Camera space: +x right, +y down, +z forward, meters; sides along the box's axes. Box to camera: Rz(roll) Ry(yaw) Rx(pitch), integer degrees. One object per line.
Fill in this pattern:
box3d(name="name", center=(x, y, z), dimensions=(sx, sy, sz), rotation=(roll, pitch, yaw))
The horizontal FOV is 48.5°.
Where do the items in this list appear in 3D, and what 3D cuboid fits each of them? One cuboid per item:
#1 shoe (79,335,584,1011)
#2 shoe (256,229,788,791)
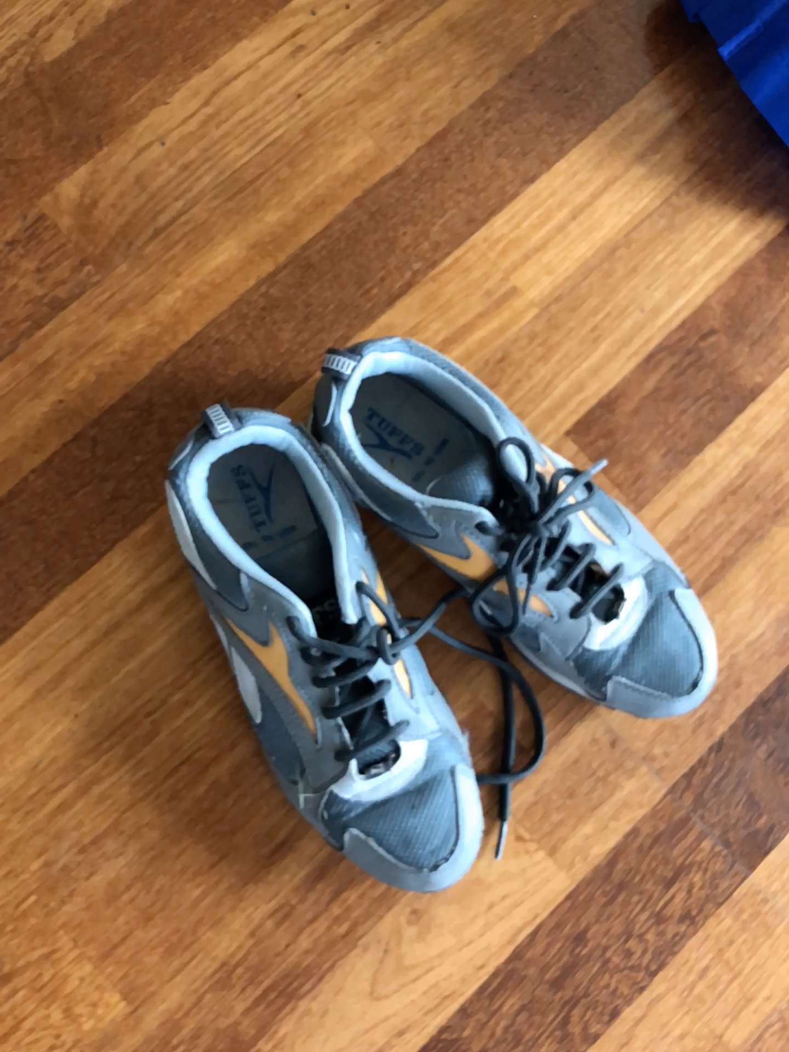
box3d(name="shoe", center=(-0.035, 0.065, 0.440), dimensions=(0.110, 0.088, 0.283), rotation=(-27, 84, -10))
box3d(name="shoe", center=(0.072, -0.004, 0.468), dimensions=(0.283, 0.099, 0.112), rotation=(42, 78, 3))
